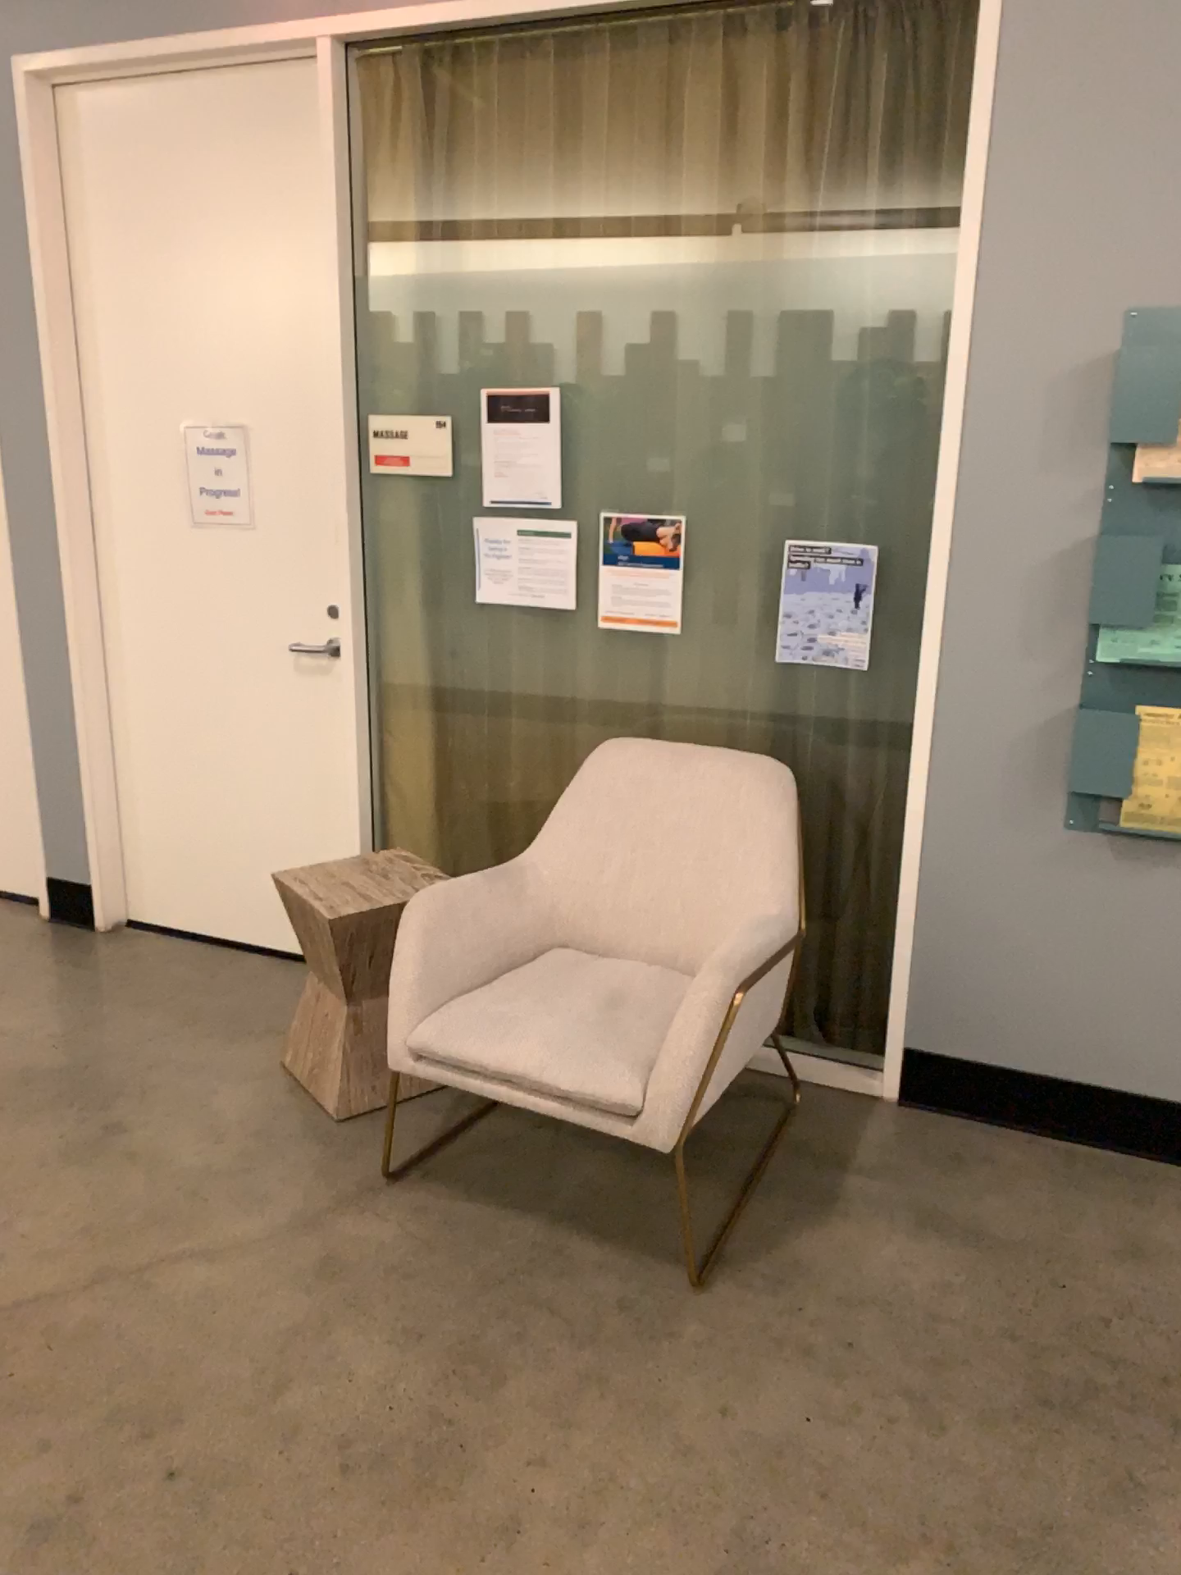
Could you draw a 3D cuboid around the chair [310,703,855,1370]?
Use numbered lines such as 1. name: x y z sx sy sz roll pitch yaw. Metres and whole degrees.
1. chair: 0.027 0.402 2.514 0.781 0.926 0.872 8 17 23
